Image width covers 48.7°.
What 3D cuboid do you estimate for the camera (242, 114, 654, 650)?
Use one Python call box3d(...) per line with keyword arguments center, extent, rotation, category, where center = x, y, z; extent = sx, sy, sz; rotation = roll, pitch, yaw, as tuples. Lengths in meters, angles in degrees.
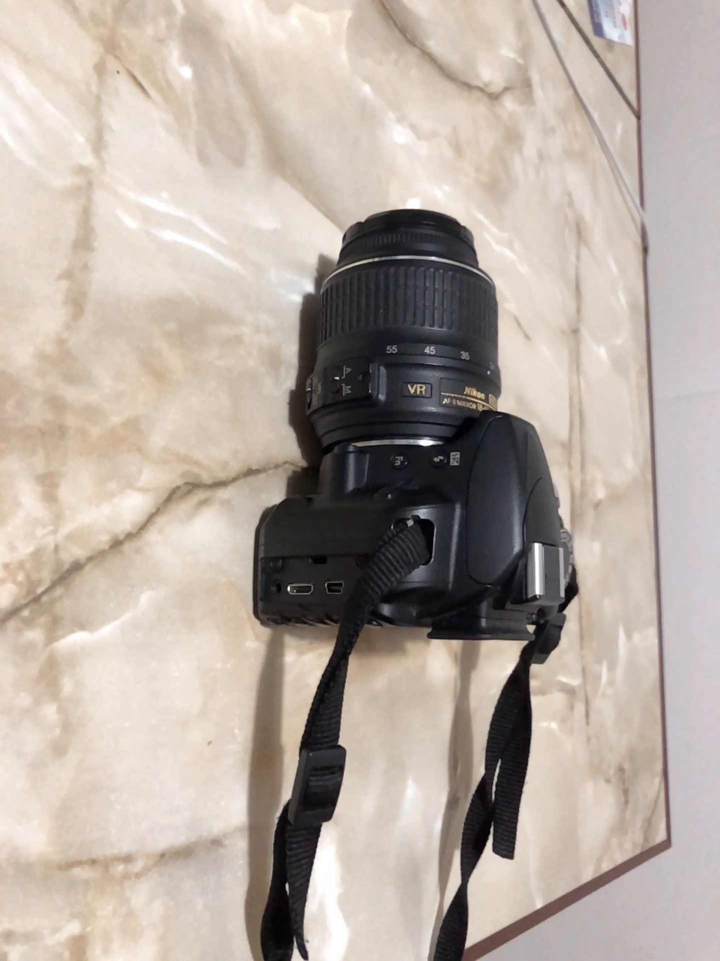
box3d(center=(0.039, -0.019, 0.308), extent=(0.126, 0.099, 0.160), rotation=(13, 74, -51), category="camera")
